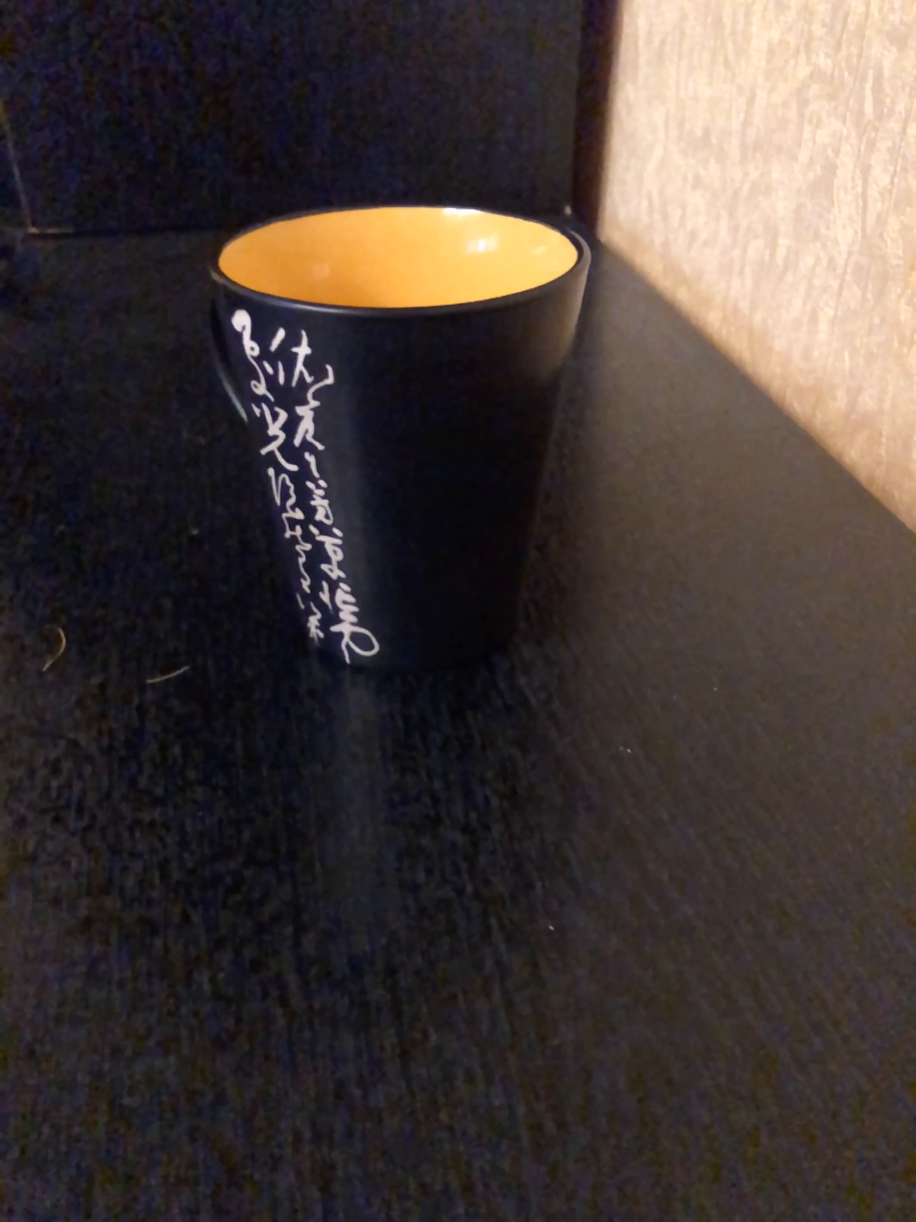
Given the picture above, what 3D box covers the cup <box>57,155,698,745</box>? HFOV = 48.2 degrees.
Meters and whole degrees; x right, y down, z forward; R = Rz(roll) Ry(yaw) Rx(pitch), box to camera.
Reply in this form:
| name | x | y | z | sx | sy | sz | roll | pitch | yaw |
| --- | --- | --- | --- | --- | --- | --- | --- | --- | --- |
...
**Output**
| name | x | y | z | sx | sy | sz | roll | pitch | yaw |
| --- | --- | --- | --- | --- | --- | --- | --- | --- | --- |
| cup | -0.022 | -0.053 | 0.278 | 0.130 | 0.099 | 0.090 | 27 | 43 | 32 |
